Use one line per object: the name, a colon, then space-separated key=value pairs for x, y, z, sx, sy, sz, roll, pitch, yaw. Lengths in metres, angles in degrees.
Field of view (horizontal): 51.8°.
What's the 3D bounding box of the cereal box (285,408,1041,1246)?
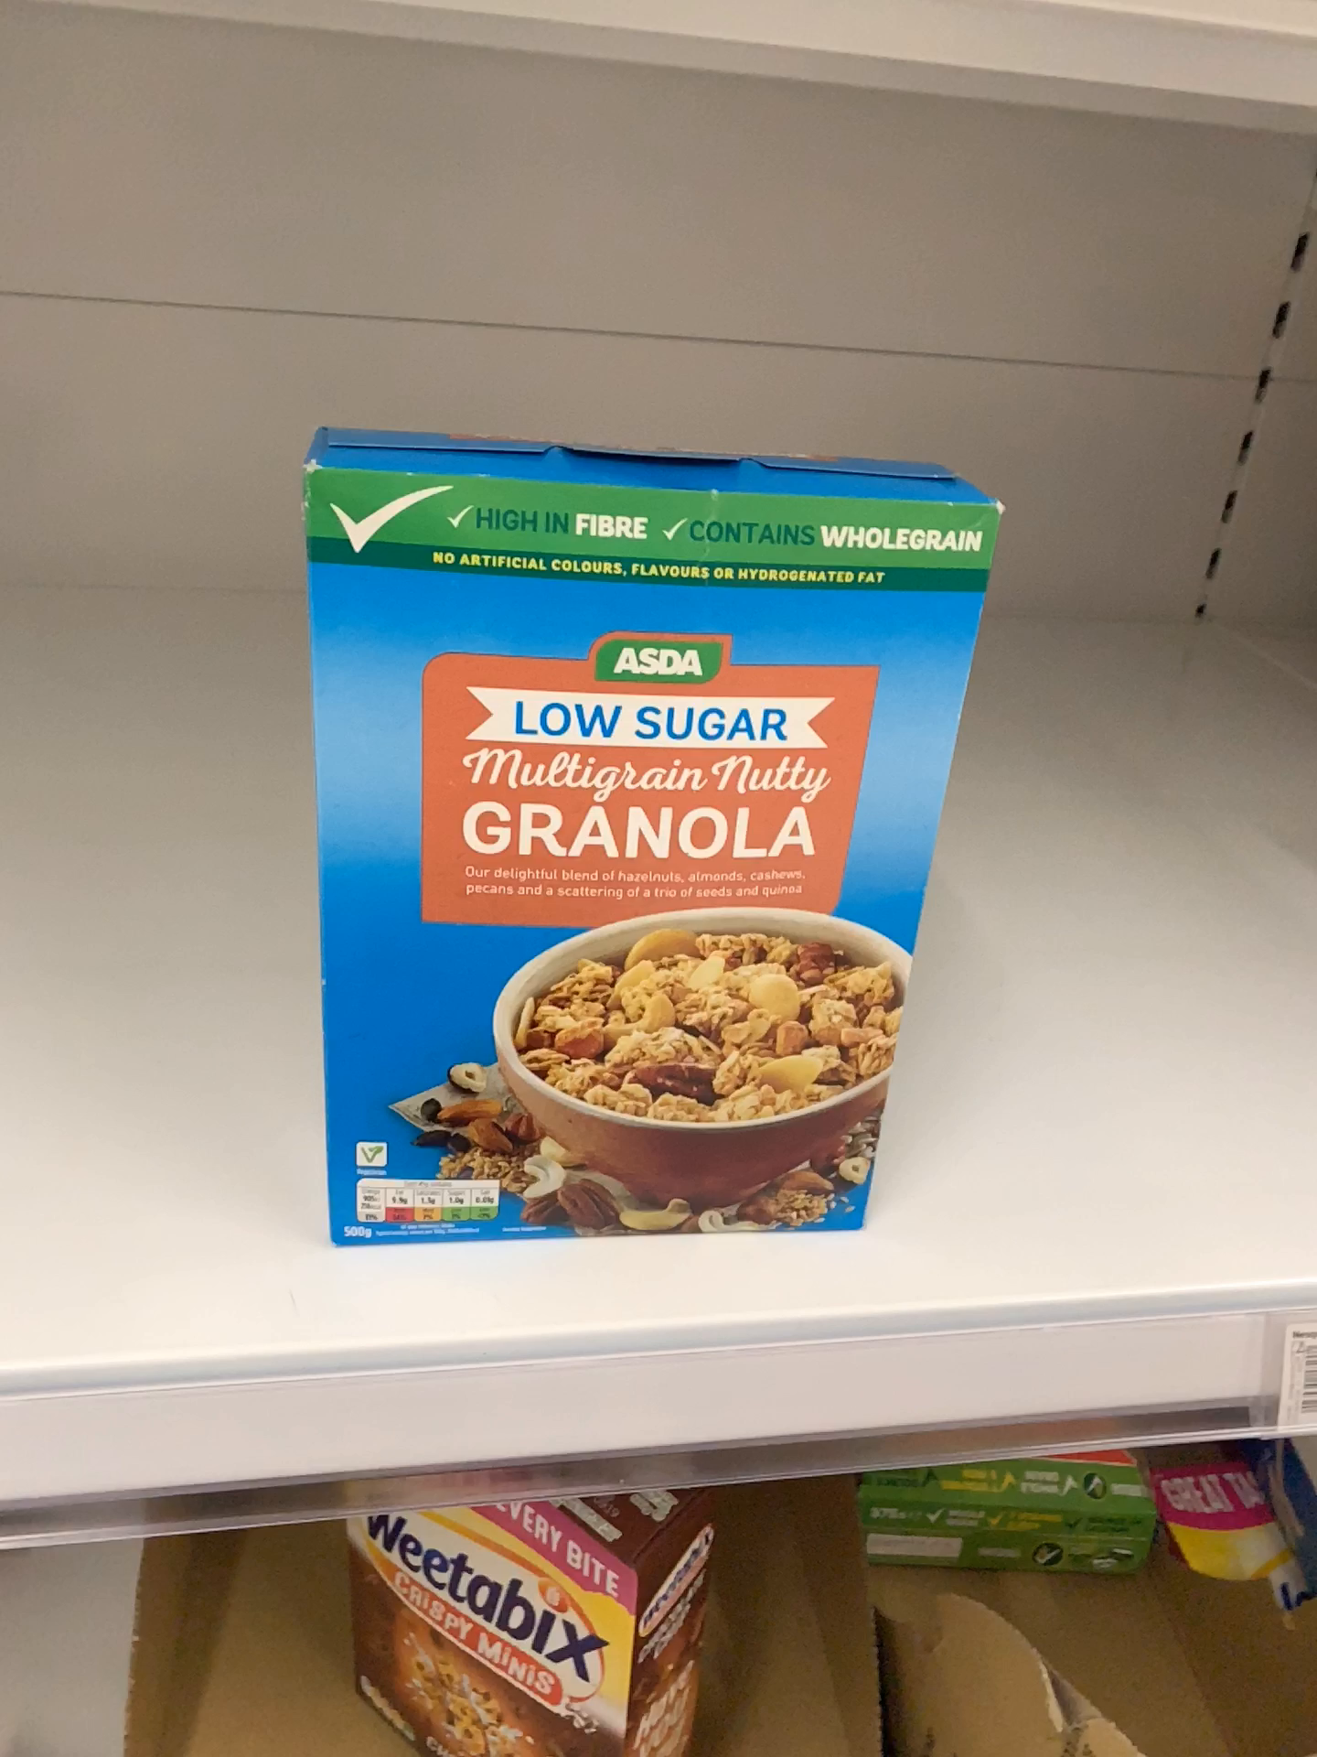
cereal box: x=-0.009 y=-0.005 z=0.420 sx=0.190 sy=0.248 sz=0.061 roll=1 pitch=28 yaw=-9
